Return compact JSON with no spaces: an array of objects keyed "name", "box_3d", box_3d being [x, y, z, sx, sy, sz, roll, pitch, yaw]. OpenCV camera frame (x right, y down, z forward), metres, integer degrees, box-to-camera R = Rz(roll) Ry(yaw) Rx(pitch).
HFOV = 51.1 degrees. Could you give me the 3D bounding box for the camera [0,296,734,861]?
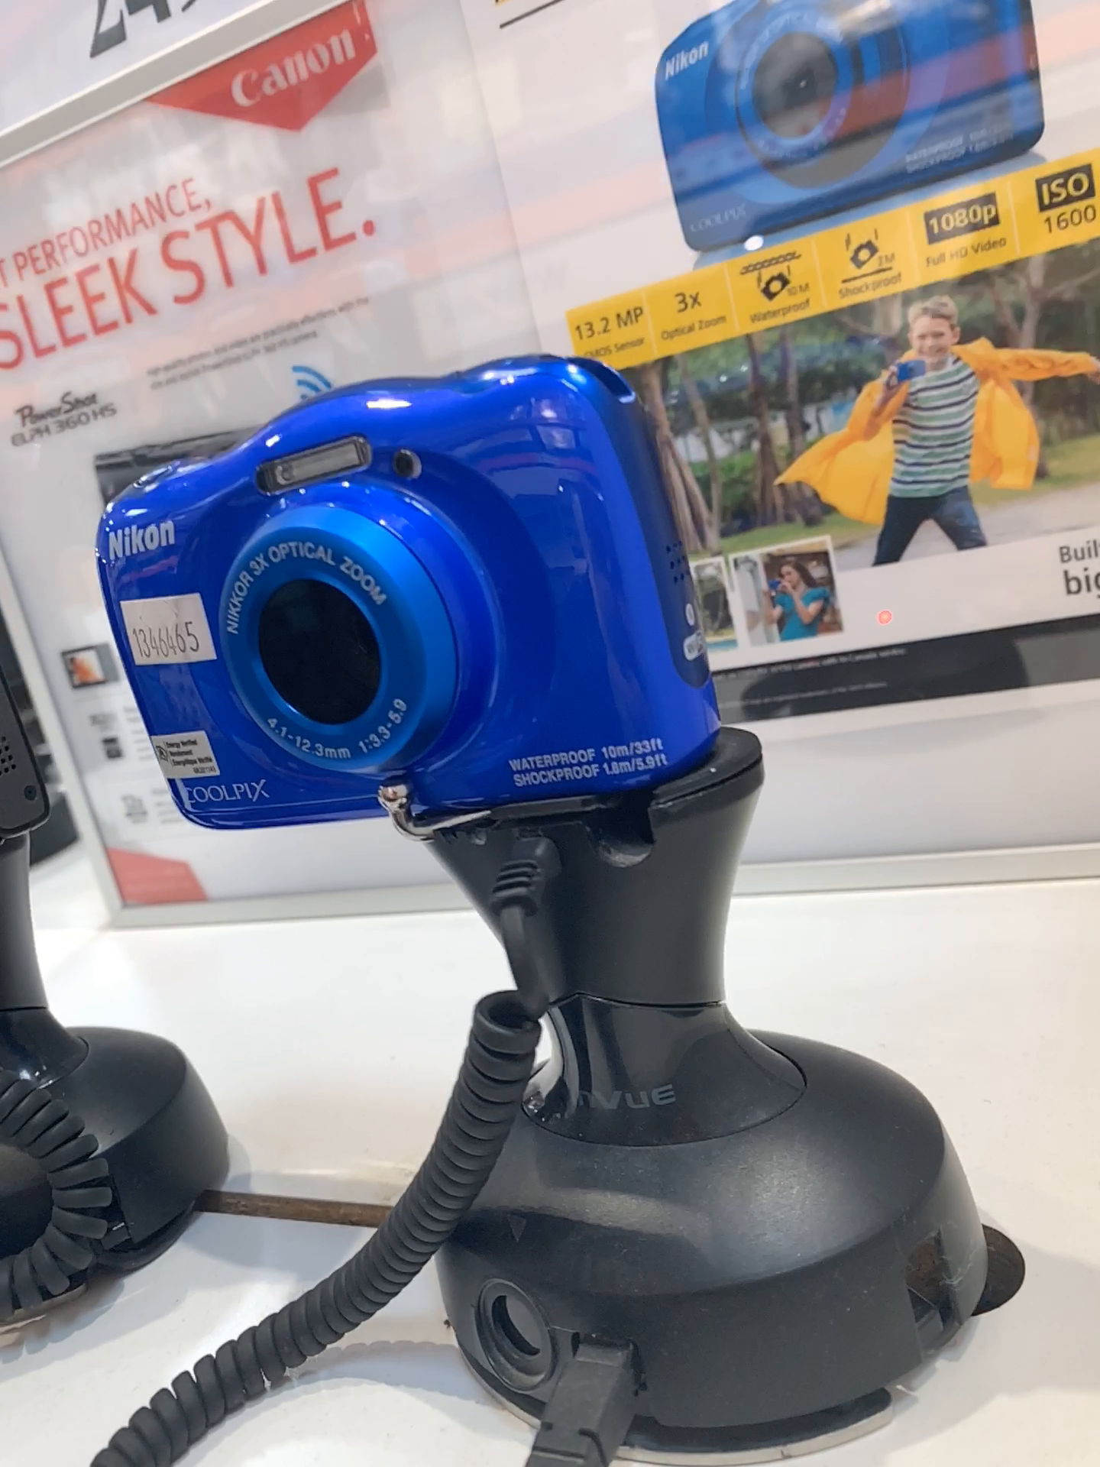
[{"name":"camera","box_3d":[-0.032,-0.021,0.178,0.101,0.063,0.046,-7,14,29]}]
